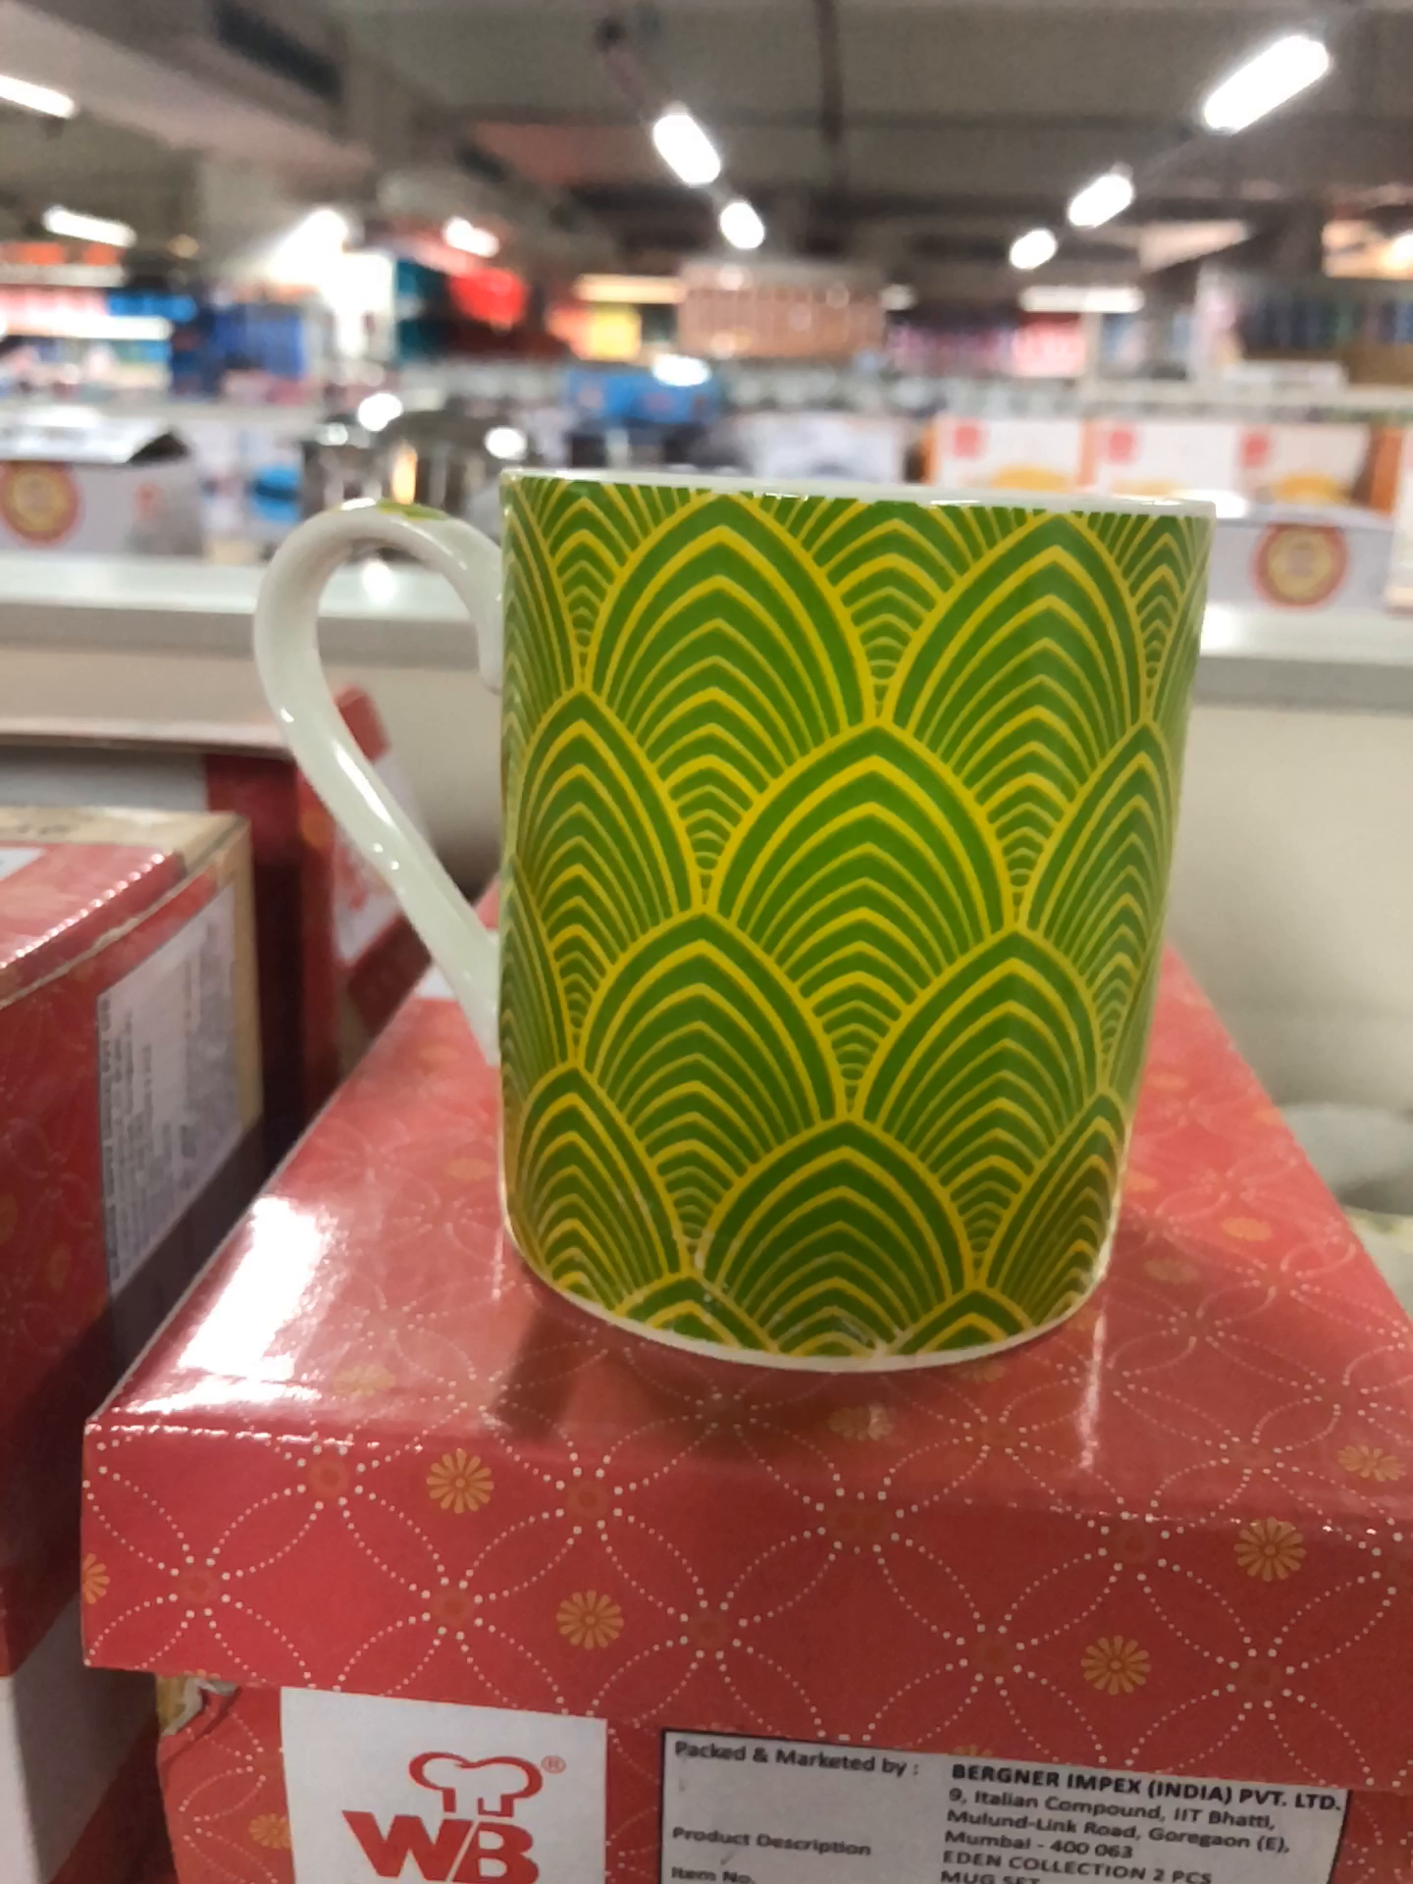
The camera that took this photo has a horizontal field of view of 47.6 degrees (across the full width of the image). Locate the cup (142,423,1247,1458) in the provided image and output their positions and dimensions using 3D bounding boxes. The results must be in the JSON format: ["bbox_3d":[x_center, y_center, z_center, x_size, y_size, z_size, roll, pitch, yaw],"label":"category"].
[{"bbox_3d":[0.000,-0.008,0.175,0.090,0.090,0.070,4,17,6],"label":"cup"}]
